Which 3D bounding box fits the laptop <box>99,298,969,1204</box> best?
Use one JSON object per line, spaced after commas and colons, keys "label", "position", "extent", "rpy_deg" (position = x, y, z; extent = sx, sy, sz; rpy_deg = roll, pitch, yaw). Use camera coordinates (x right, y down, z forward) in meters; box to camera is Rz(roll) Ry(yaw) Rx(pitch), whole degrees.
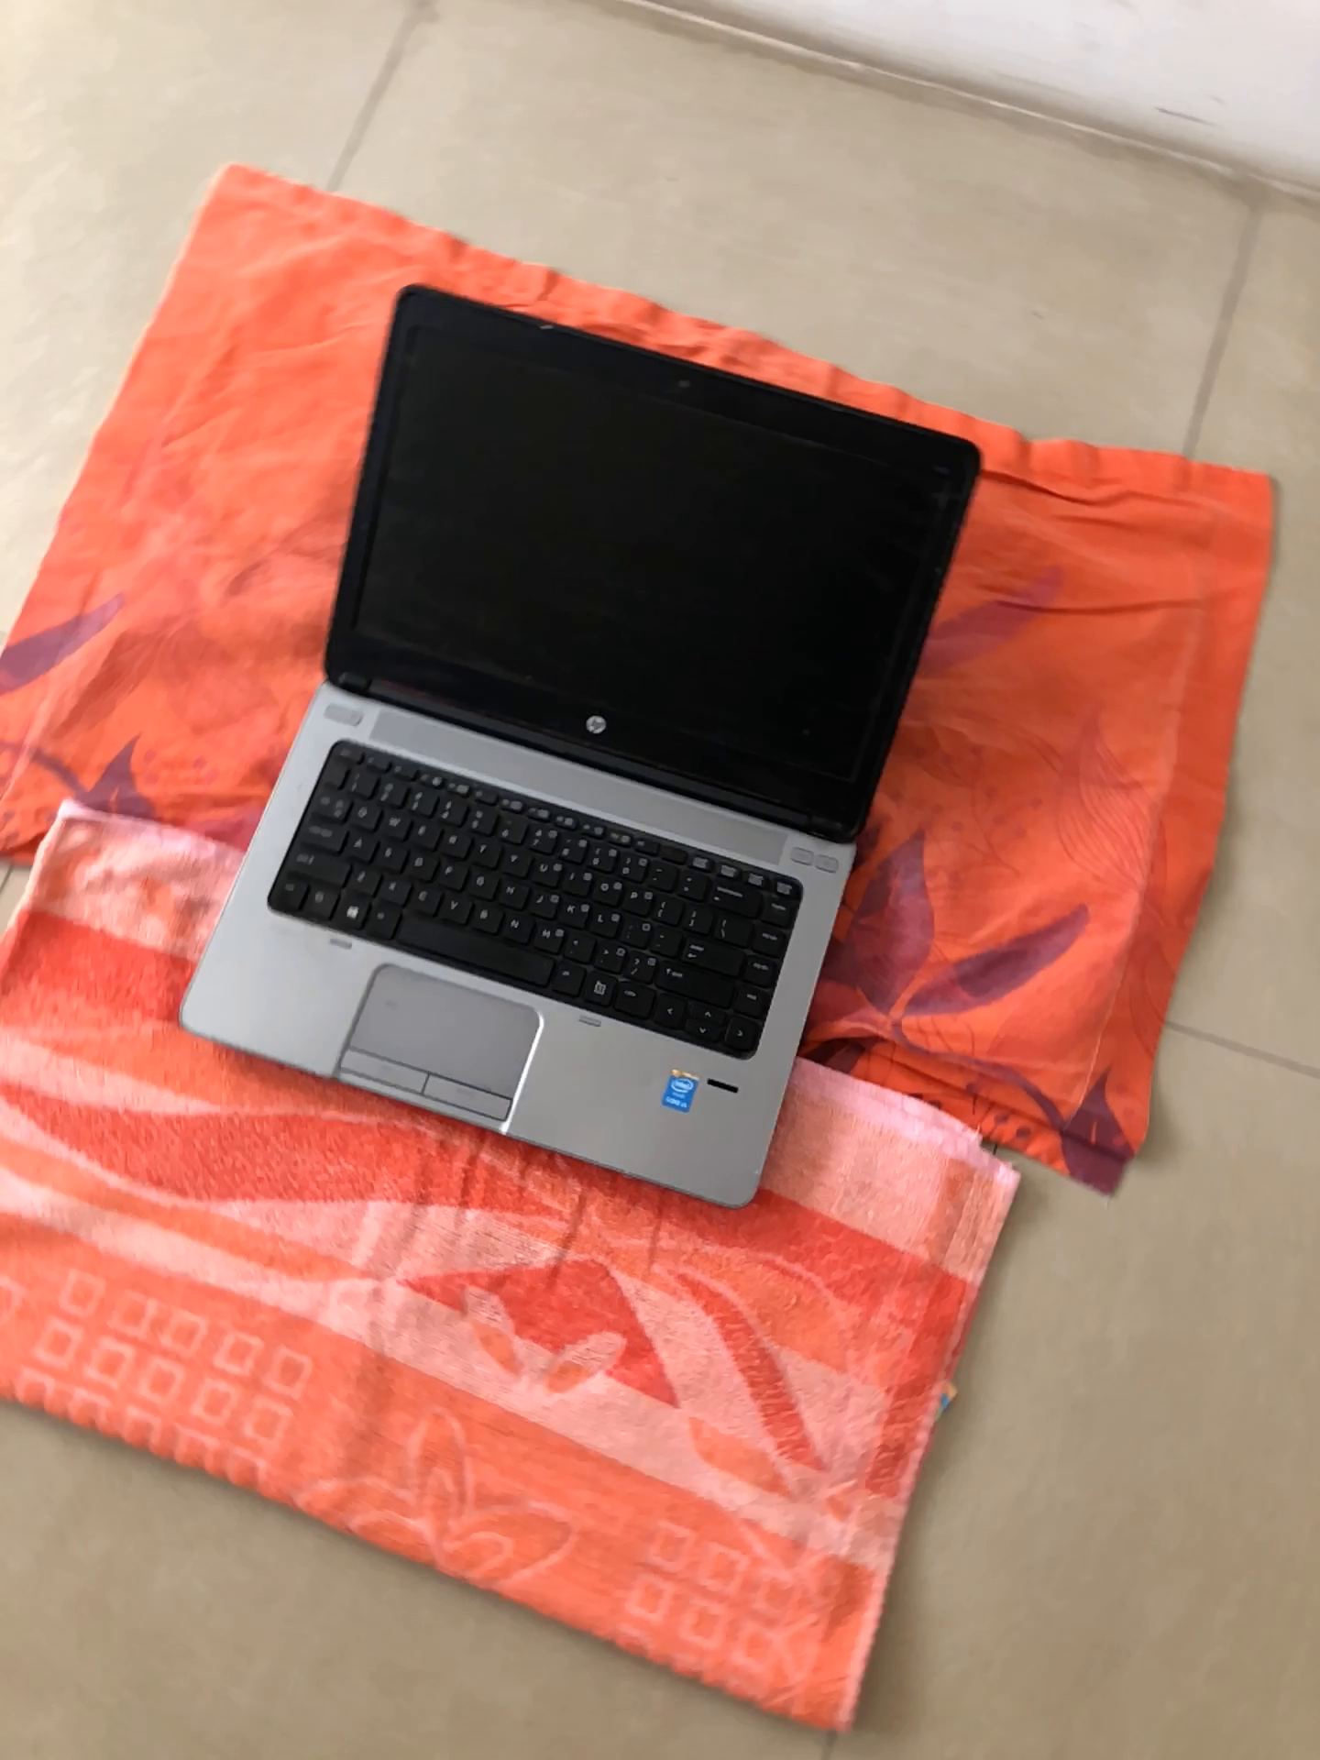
{"label": "laptop", "position": [-0.050, -0.074, 0.795], "extent": [0.328, 0.111, 0.411], "rpy_deg": [17, 74, 3]}
